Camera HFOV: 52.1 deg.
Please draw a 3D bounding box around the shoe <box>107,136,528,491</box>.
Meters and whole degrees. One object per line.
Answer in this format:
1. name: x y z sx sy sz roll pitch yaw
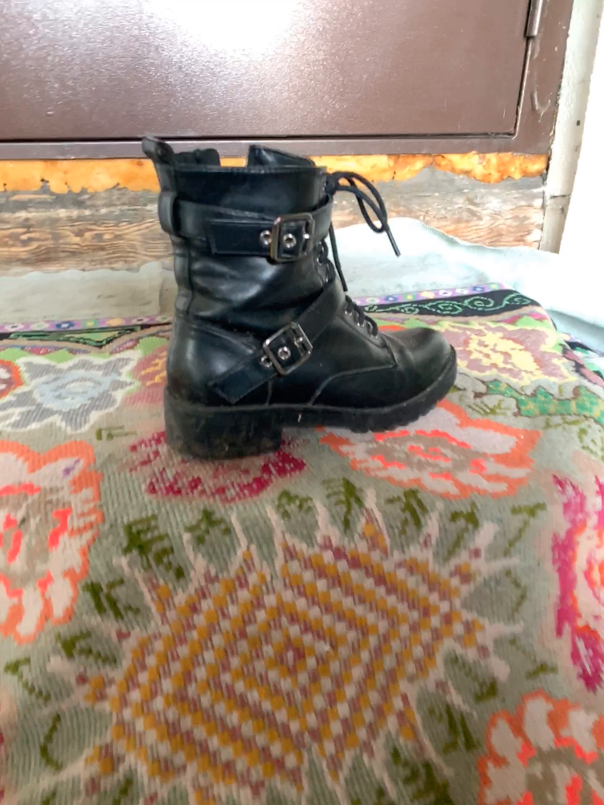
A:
1. shoe: 0.011 -0.071 0.416 0.240 0.188 0.091 -11 29 -21
